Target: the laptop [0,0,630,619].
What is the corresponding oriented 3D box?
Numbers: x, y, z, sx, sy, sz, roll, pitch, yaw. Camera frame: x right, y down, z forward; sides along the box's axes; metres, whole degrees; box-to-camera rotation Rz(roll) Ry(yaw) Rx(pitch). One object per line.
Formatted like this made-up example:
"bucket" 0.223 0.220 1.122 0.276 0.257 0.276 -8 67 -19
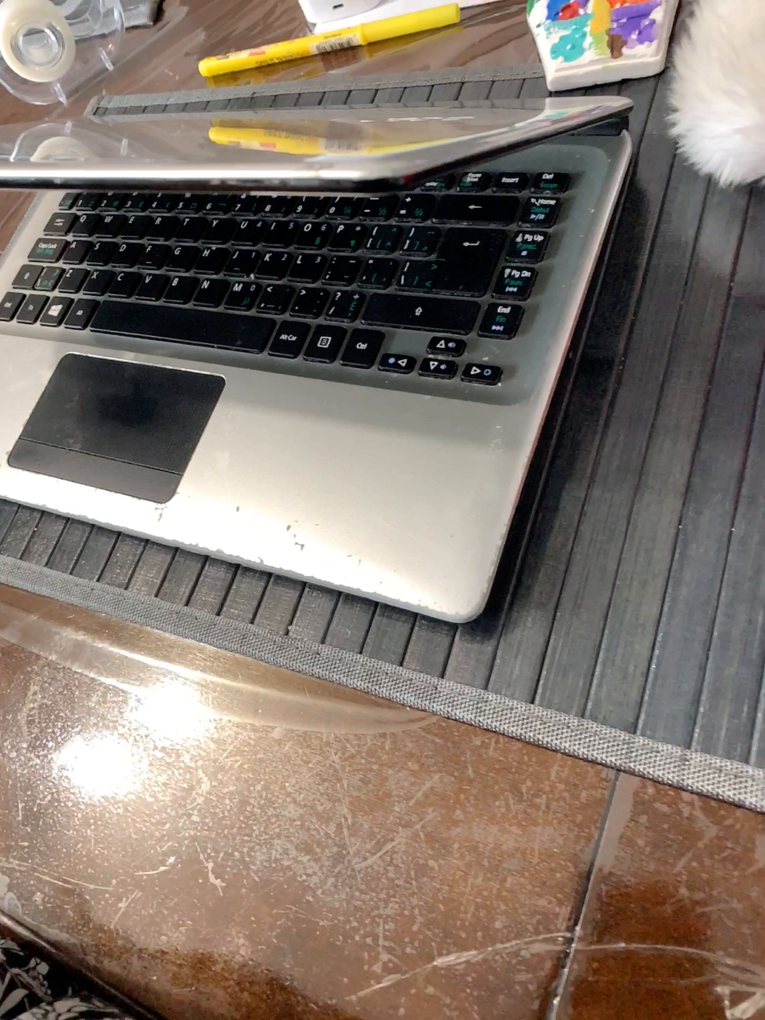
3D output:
"laptop" -0.104 -0.124 0.327 0.344 0.141 0.225 12 71 26
